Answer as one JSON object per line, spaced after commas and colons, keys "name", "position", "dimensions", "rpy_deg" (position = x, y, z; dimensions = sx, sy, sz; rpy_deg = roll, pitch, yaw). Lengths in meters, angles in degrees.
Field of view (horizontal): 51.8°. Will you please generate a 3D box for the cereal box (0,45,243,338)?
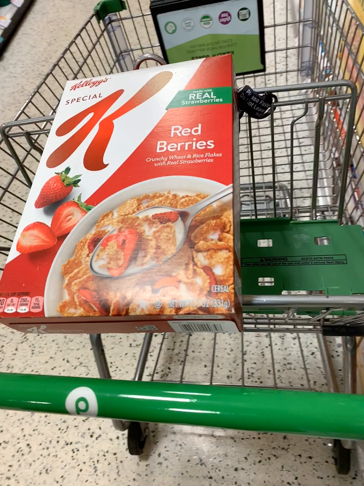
{"name": "cereal box", "position": [-0.047, -0.060, 0.366], "dimensions": [0.200, 0.060, 0.292], "rpy_deg": [-4, 59, 13]}
